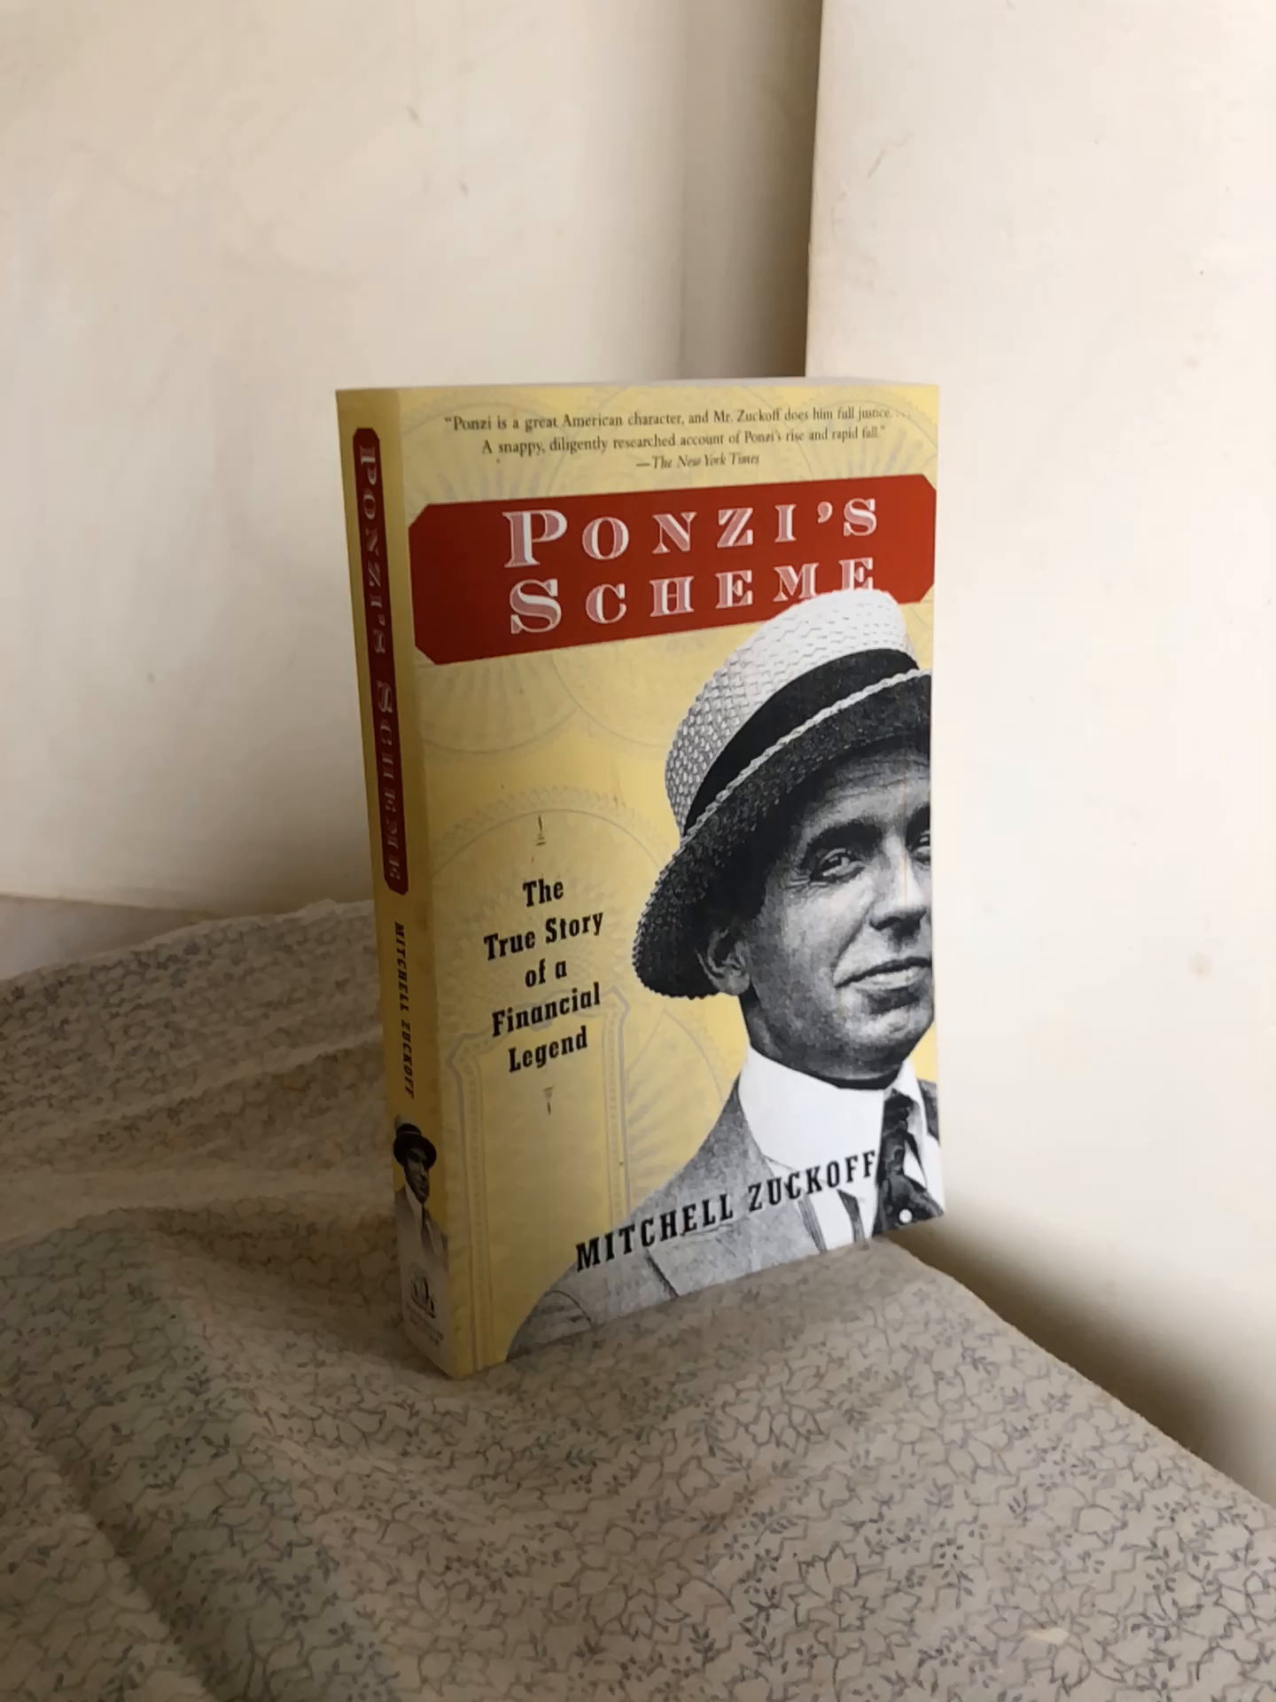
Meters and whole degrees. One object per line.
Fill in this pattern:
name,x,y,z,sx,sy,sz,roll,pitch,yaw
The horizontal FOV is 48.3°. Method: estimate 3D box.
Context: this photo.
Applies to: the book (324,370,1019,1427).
book,0.014,0.004,0.319,0.140,0.209,0.040,-12,21,-29
